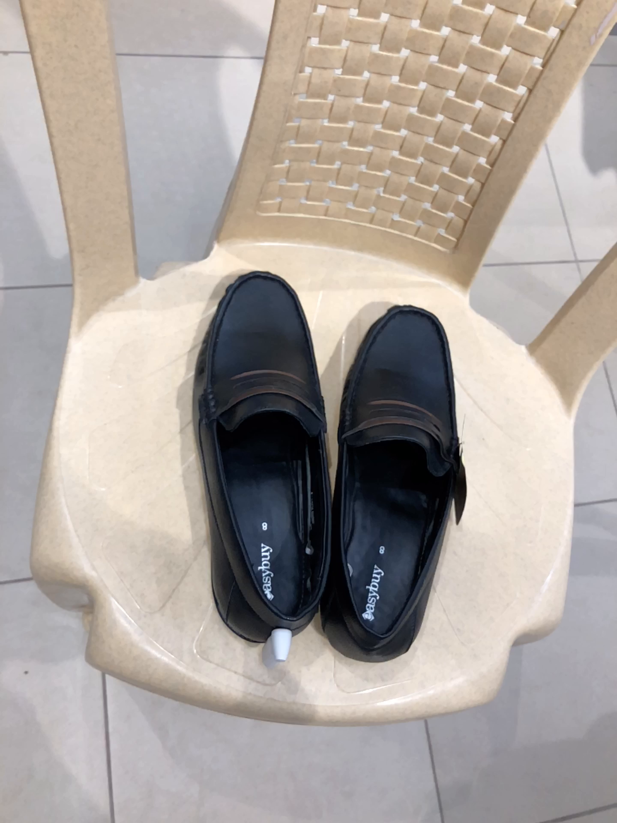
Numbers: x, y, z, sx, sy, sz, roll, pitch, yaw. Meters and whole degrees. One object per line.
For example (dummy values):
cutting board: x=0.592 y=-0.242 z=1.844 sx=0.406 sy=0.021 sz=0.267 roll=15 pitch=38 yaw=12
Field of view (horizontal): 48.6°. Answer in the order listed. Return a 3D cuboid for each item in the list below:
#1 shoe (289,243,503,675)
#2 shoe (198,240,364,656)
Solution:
shoe: x=0.066 y=0.032 z=0.504 sx=0.100 sy=0.088 sz=0.283 roll=12 pitch=73 yaw=-7
shoe: x=-0.028 y=0.024 z=0.494 sx=0.100 sy=0.088 sz=0.275 roll=0 pitch=74 yaw=-10
